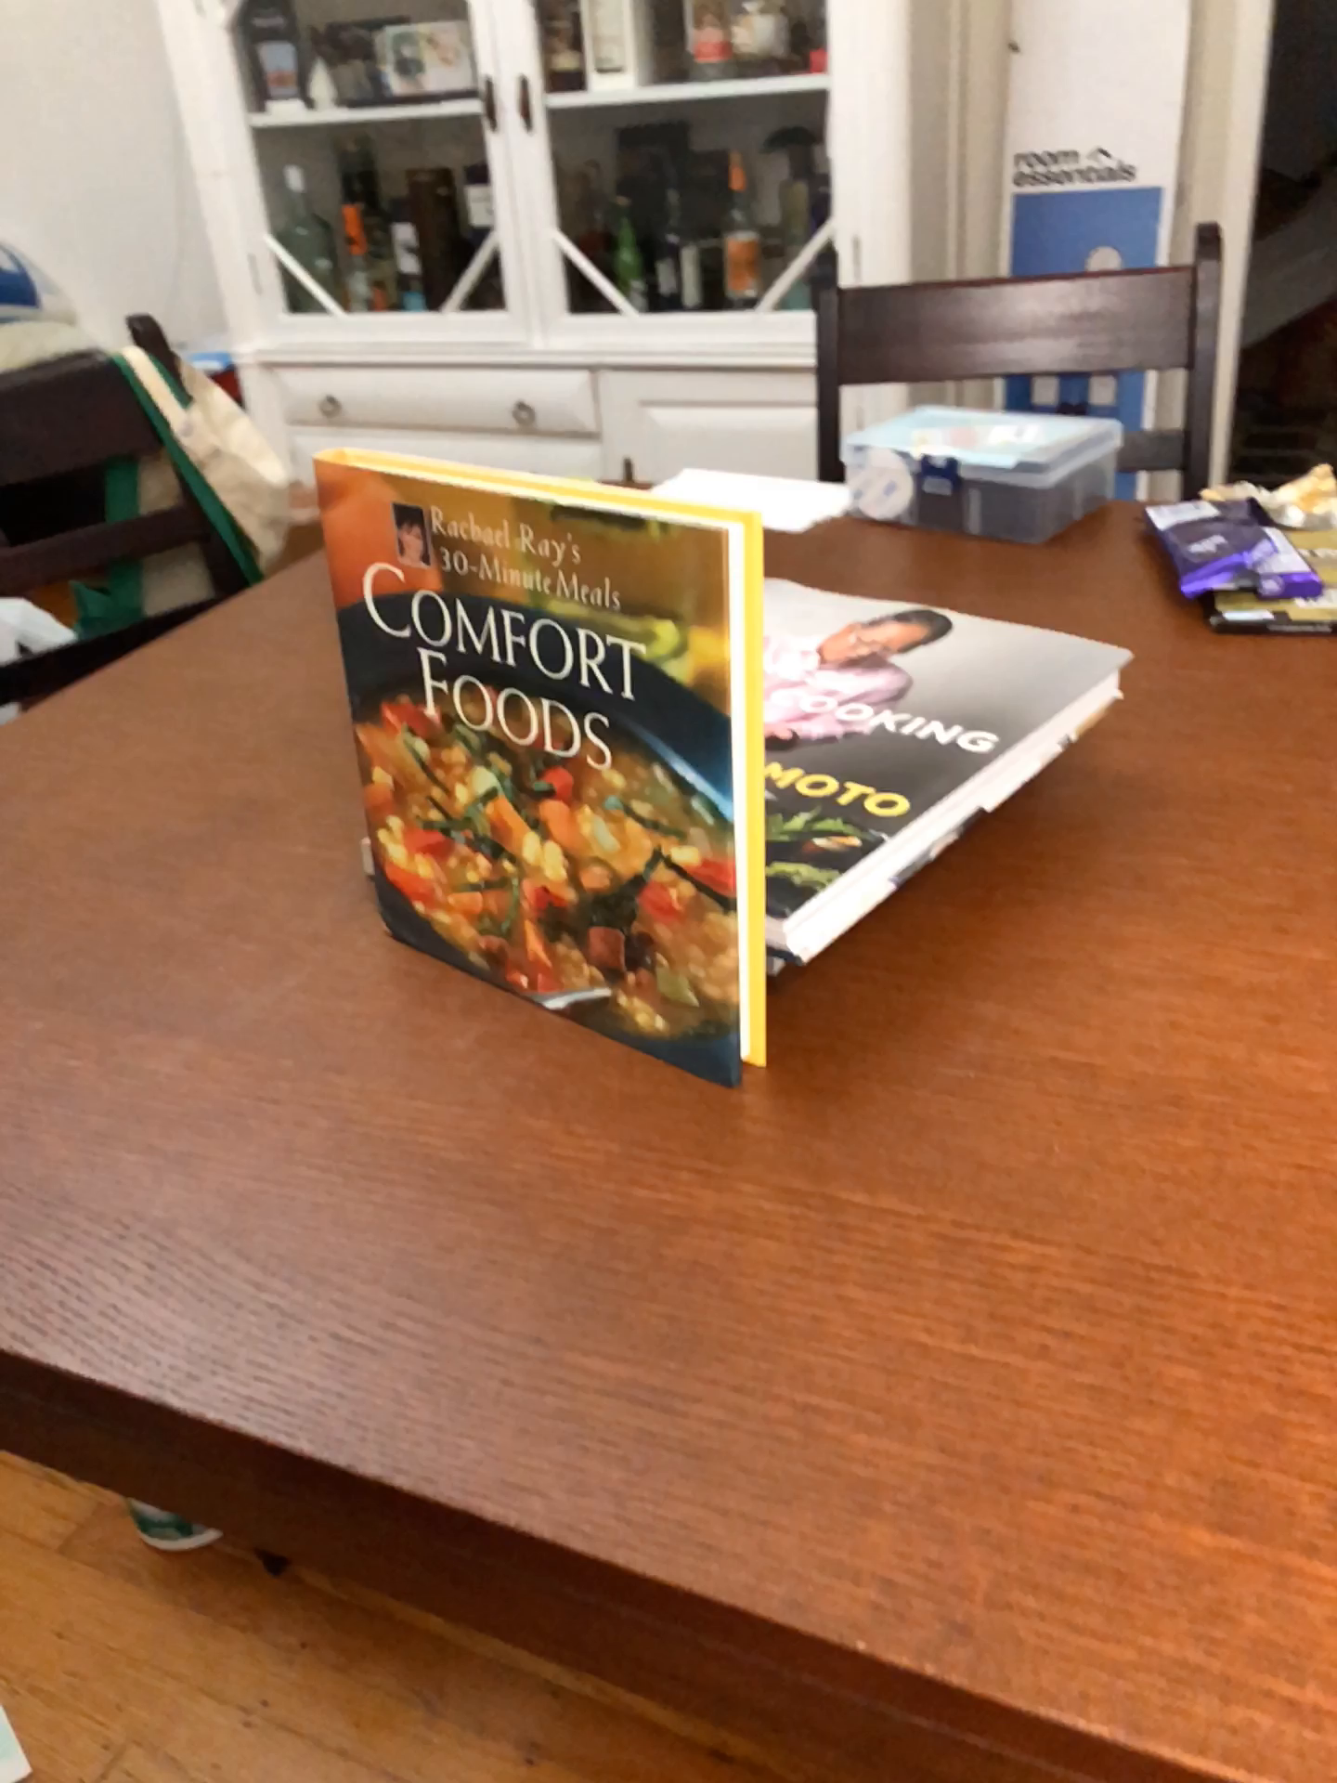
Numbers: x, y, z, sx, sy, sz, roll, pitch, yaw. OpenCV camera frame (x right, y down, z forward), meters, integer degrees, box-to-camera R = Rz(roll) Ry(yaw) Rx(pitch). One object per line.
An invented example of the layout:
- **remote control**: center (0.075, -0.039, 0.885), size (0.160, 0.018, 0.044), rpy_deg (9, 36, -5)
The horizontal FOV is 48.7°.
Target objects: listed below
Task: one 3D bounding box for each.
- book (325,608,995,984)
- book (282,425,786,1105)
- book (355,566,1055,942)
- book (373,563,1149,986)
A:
- **book**: center (0.008, -0.066, 0.738), size (0.220, 0.030, 0.281), rpy_deg (13, 36, 29)
- **book**: center (-0.050, -0.052, 0.548), size (0.210, 0.209, 0.030), rpy_deg (21, 37, 36)
- **book**: center (0.028, -0.085, 0.712), size (0.220, 0.030, 0.281), rpy_deg (15, 37, 31)
- **book**: center (0.049, -0.073, 0.658), size (0.220, 0.030, 0.281), rpy_deg (18, 39, 35)
